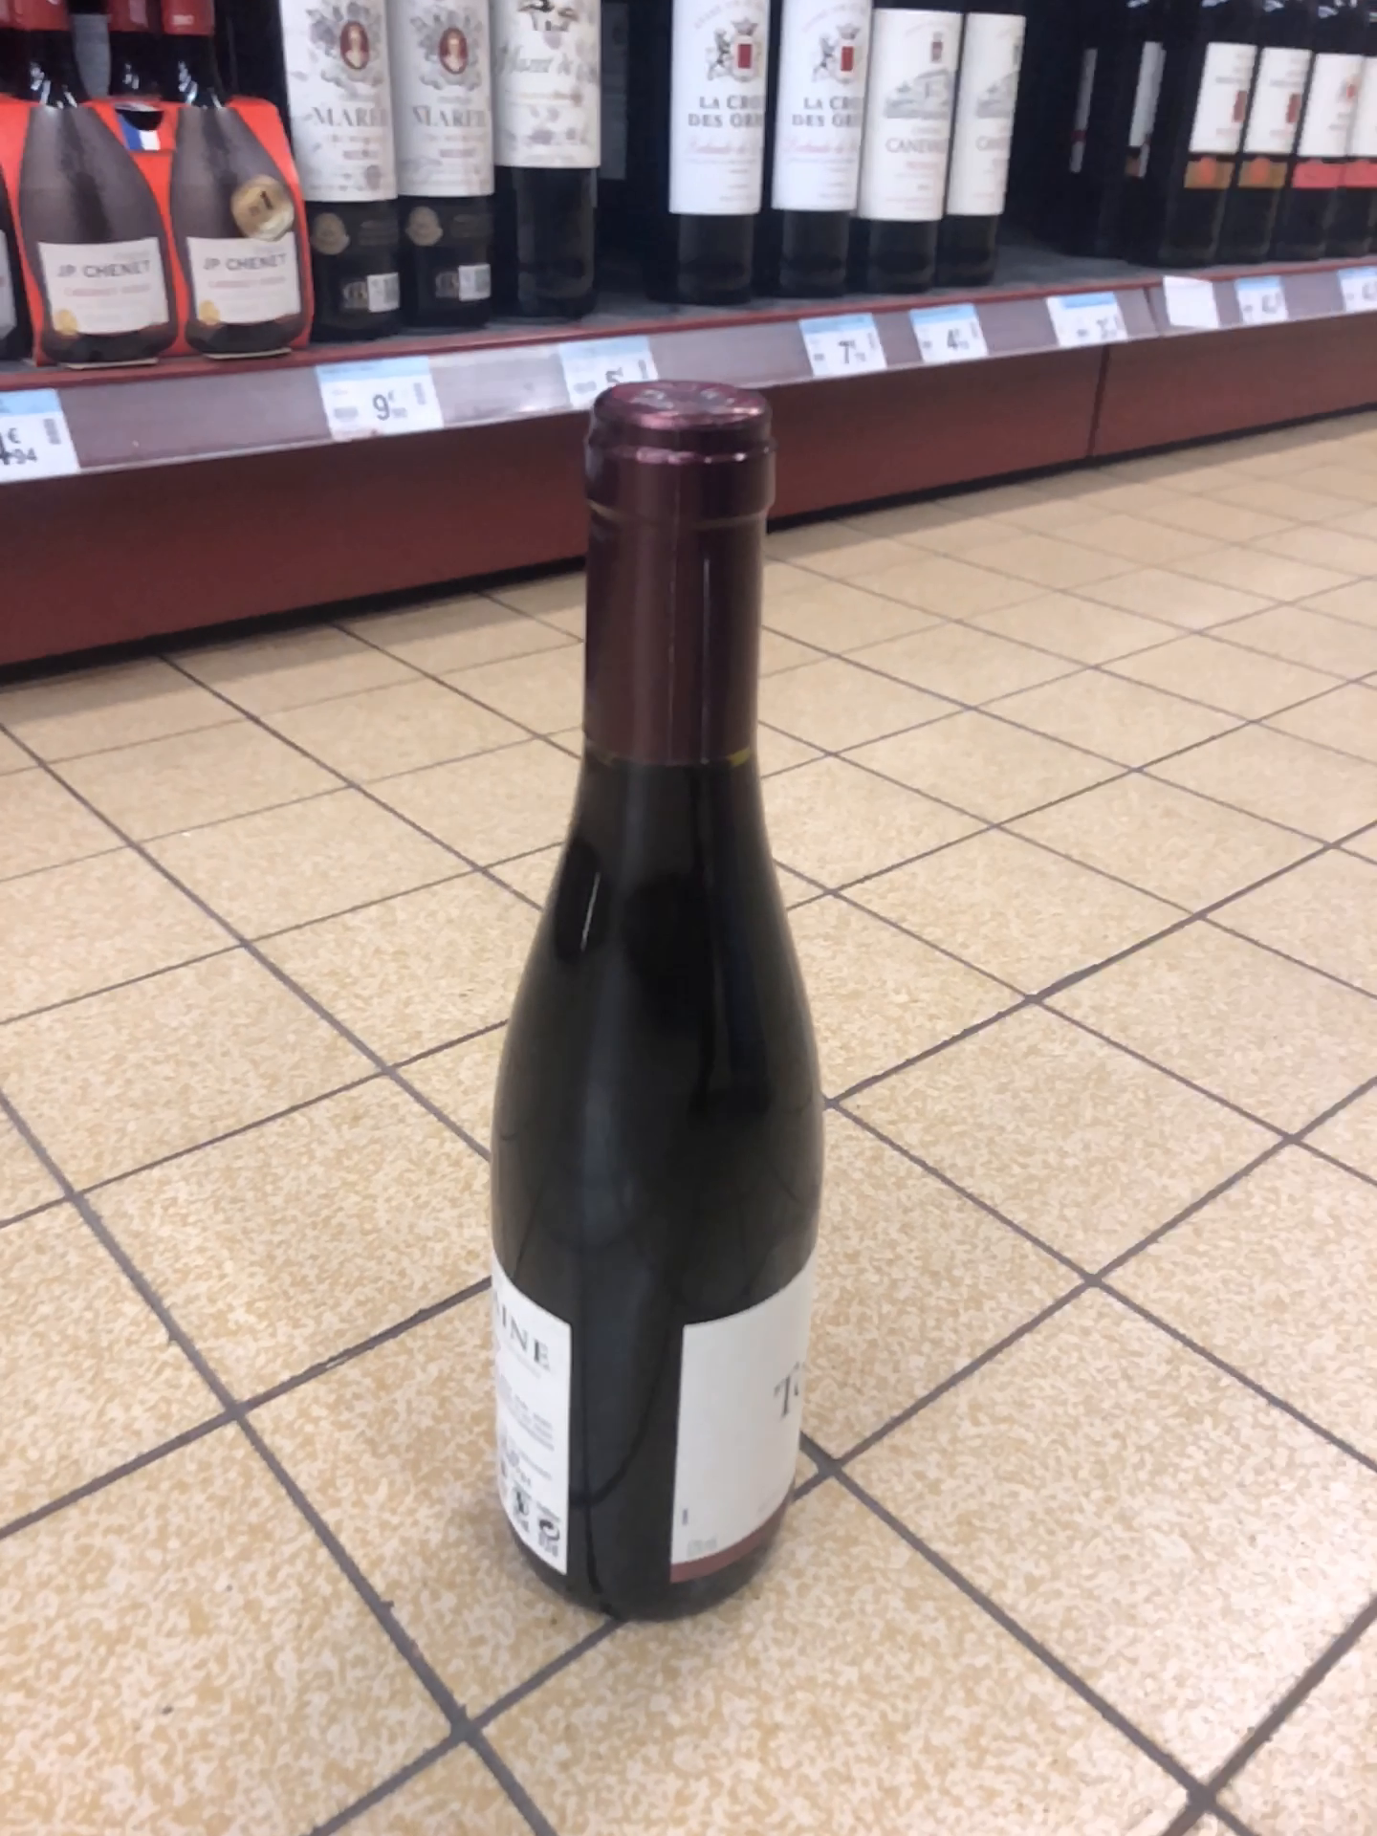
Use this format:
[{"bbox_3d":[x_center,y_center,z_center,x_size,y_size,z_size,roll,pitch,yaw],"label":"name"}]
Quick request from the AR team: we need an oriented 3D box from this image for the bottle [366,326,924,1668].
[{"bbox_3d":[-0.012,0.024,0.281,0.070,0.239,0.080,0,28,-4],"label":"bottle"}]
